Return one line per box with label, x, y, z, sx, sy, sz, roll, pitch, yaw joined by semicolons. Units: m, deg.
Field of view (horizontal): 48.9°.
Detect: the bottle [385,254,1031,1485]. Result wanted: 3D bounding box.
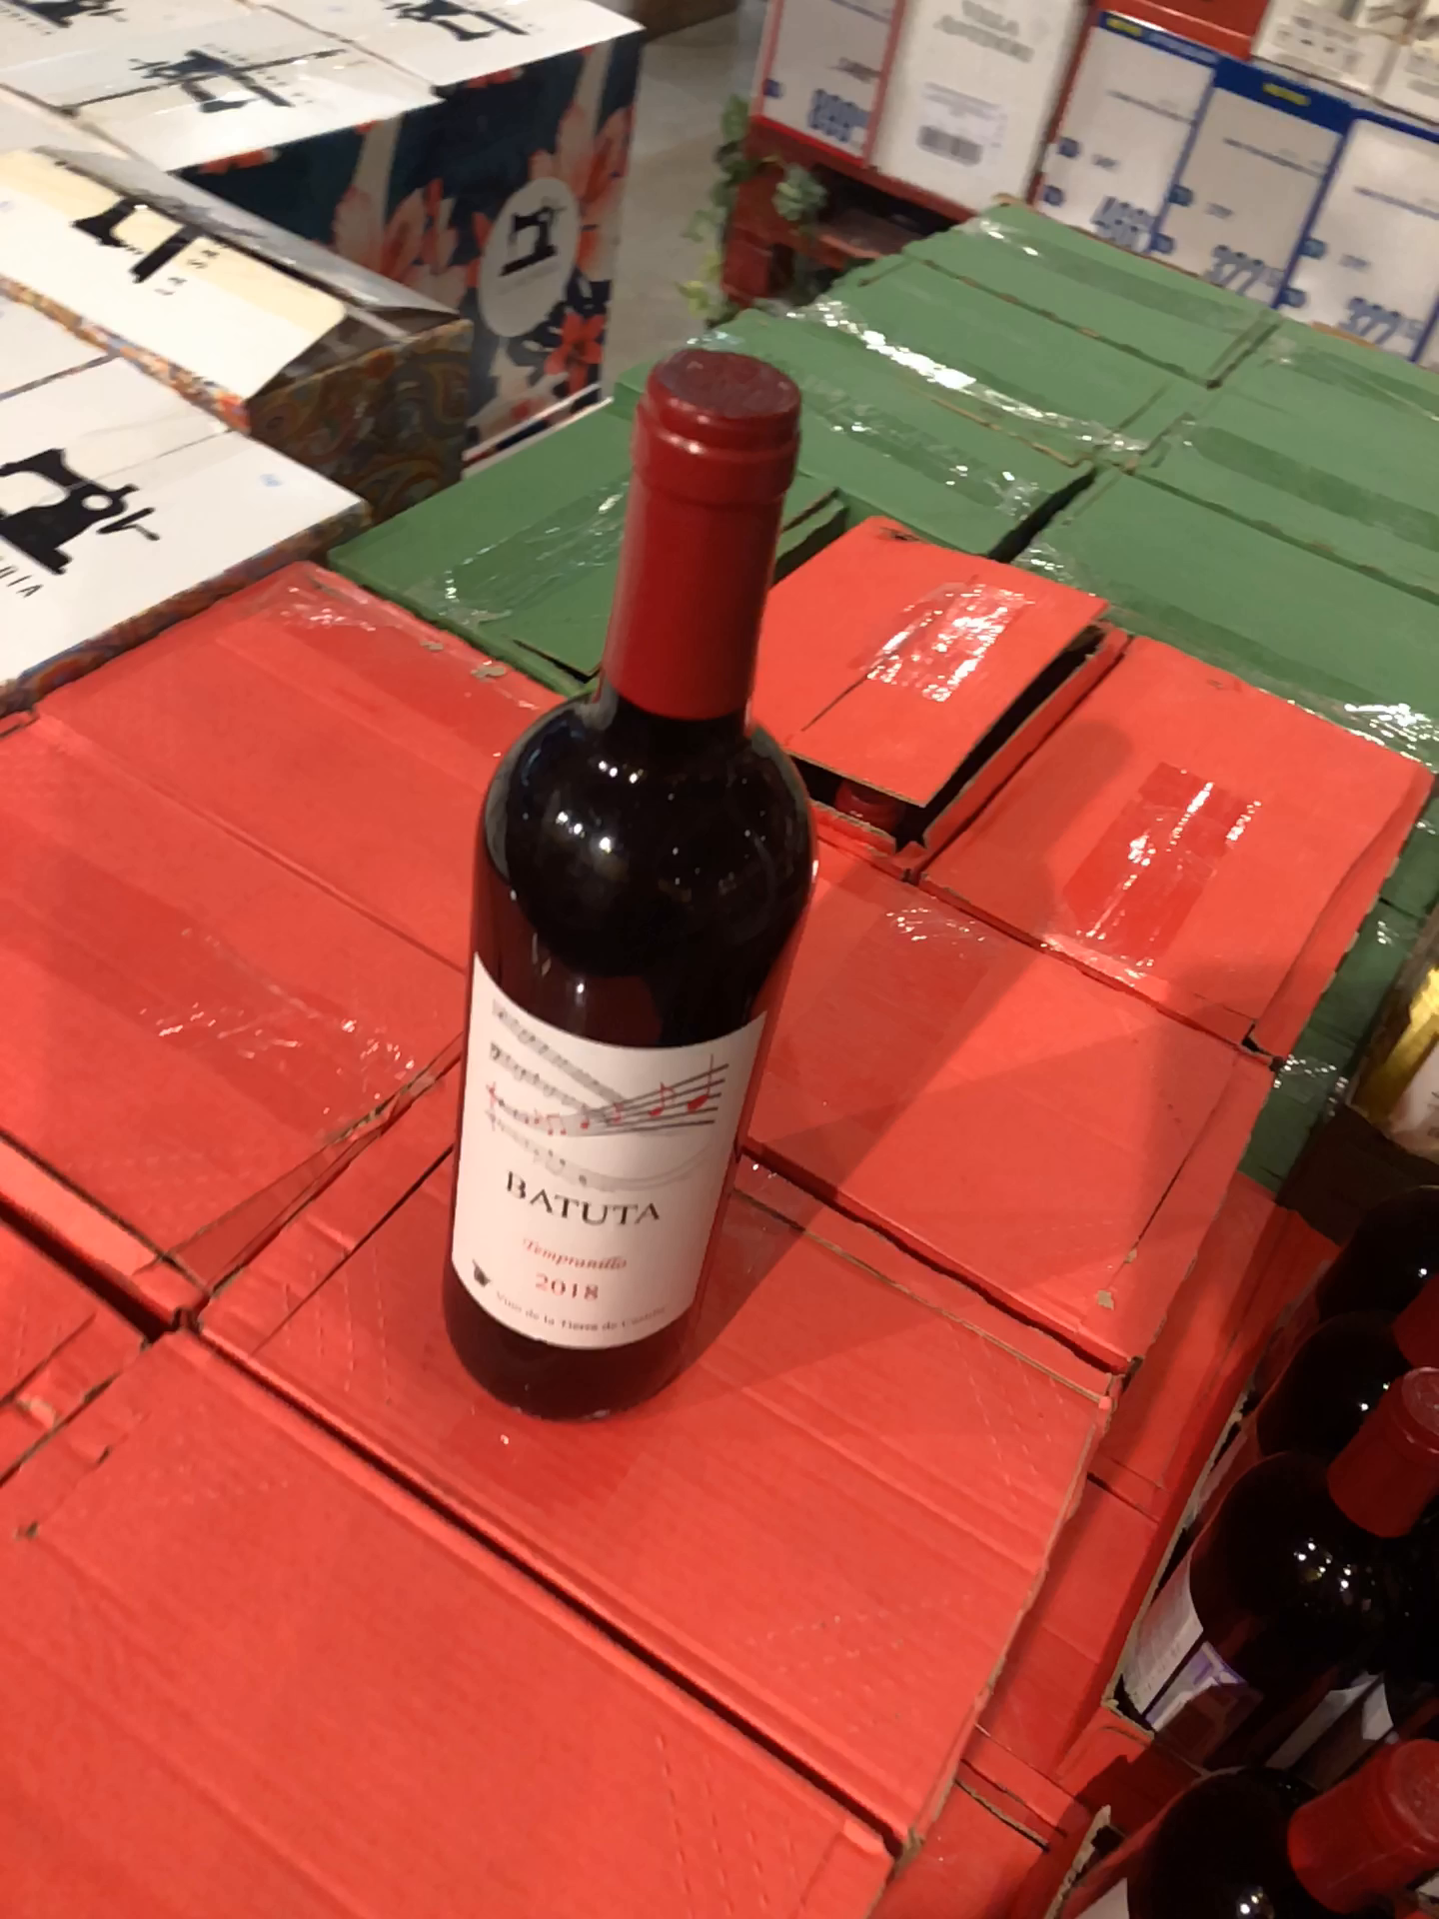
bottle;-0.021;0.010;0.355;0.090;0.287;0.081;7;45;-6
